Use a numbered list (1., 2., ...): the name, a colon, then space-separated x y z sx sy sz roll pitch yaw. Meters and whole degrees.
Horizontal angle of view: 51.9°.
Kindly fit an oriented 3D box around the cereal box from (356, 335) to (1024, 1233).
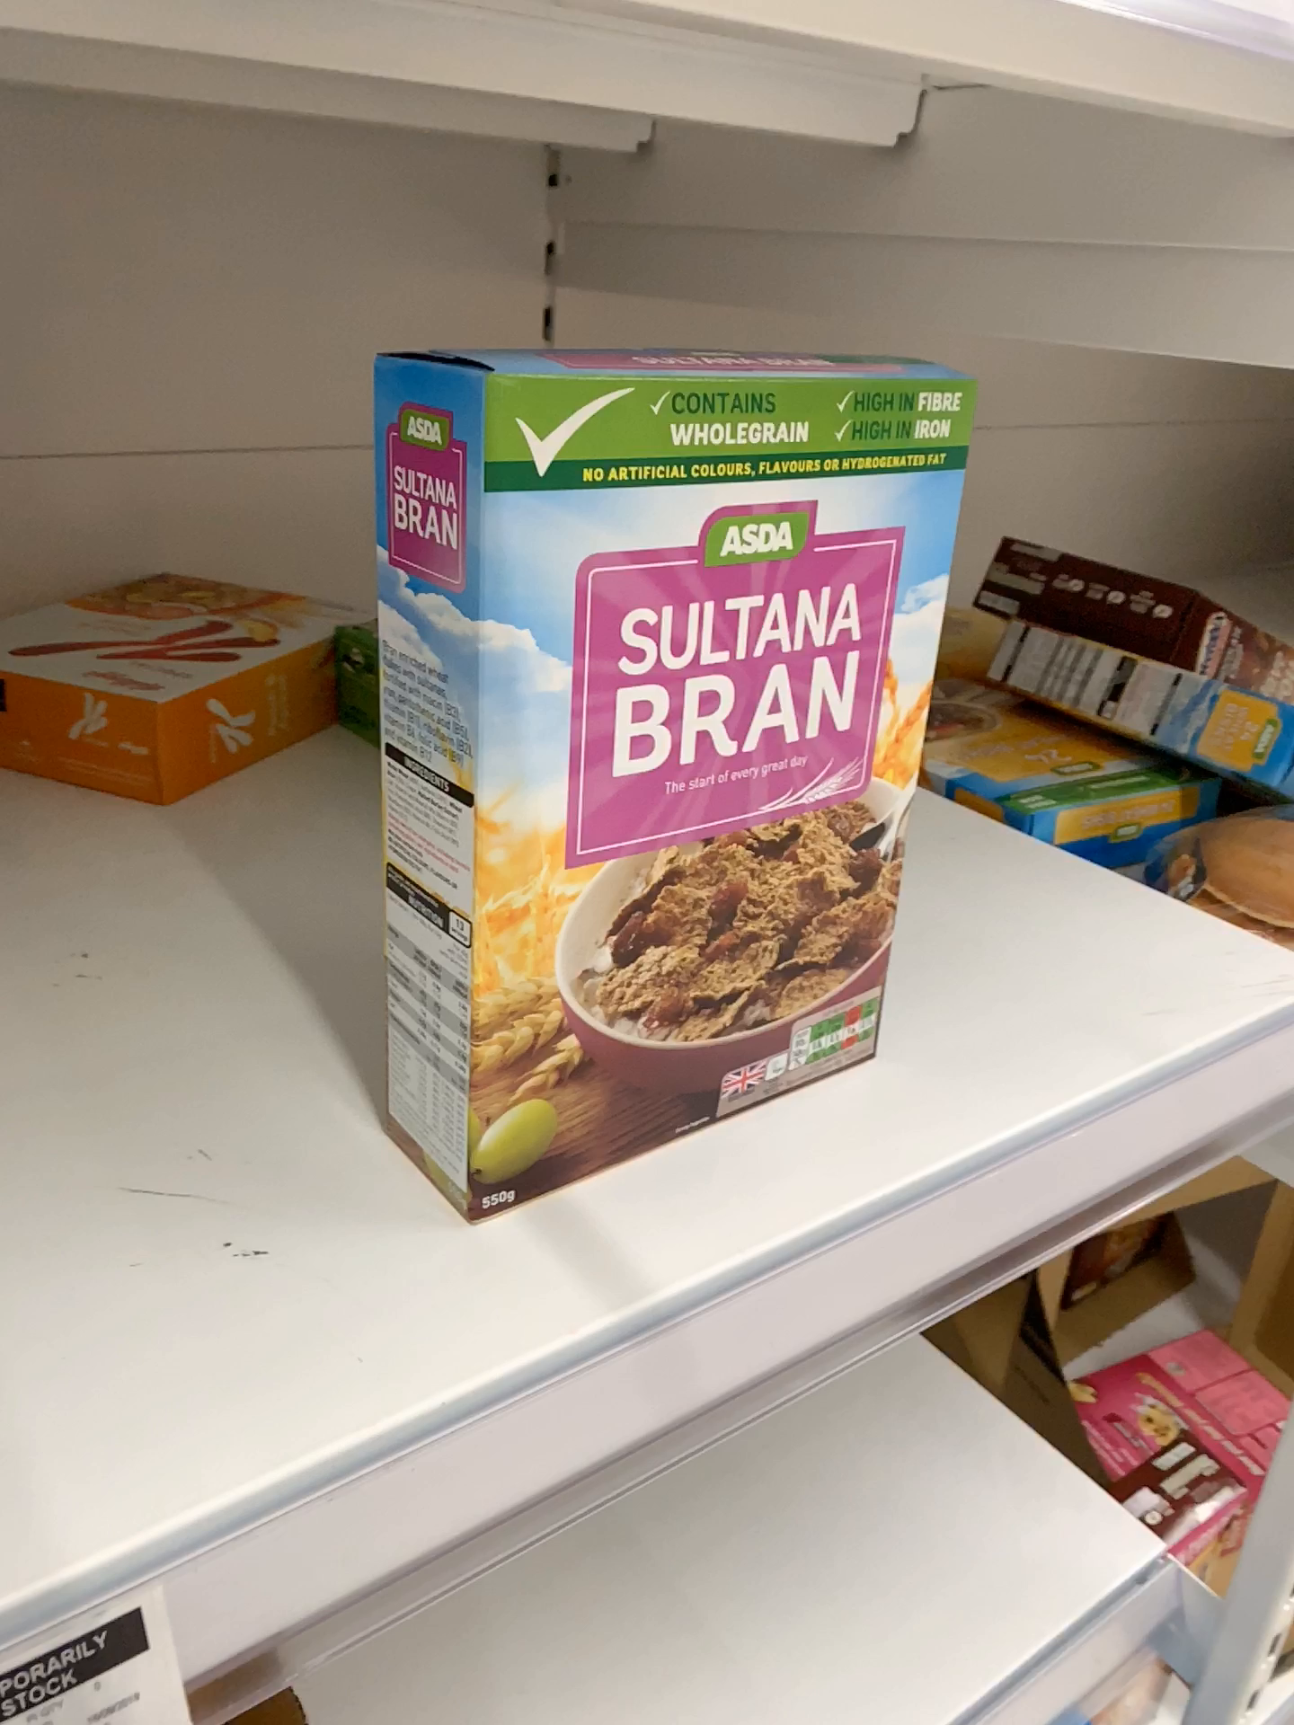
1. cereal box: 0.014 -0.036 0.466 0.211 0.268 0.070 -14 30 -35
